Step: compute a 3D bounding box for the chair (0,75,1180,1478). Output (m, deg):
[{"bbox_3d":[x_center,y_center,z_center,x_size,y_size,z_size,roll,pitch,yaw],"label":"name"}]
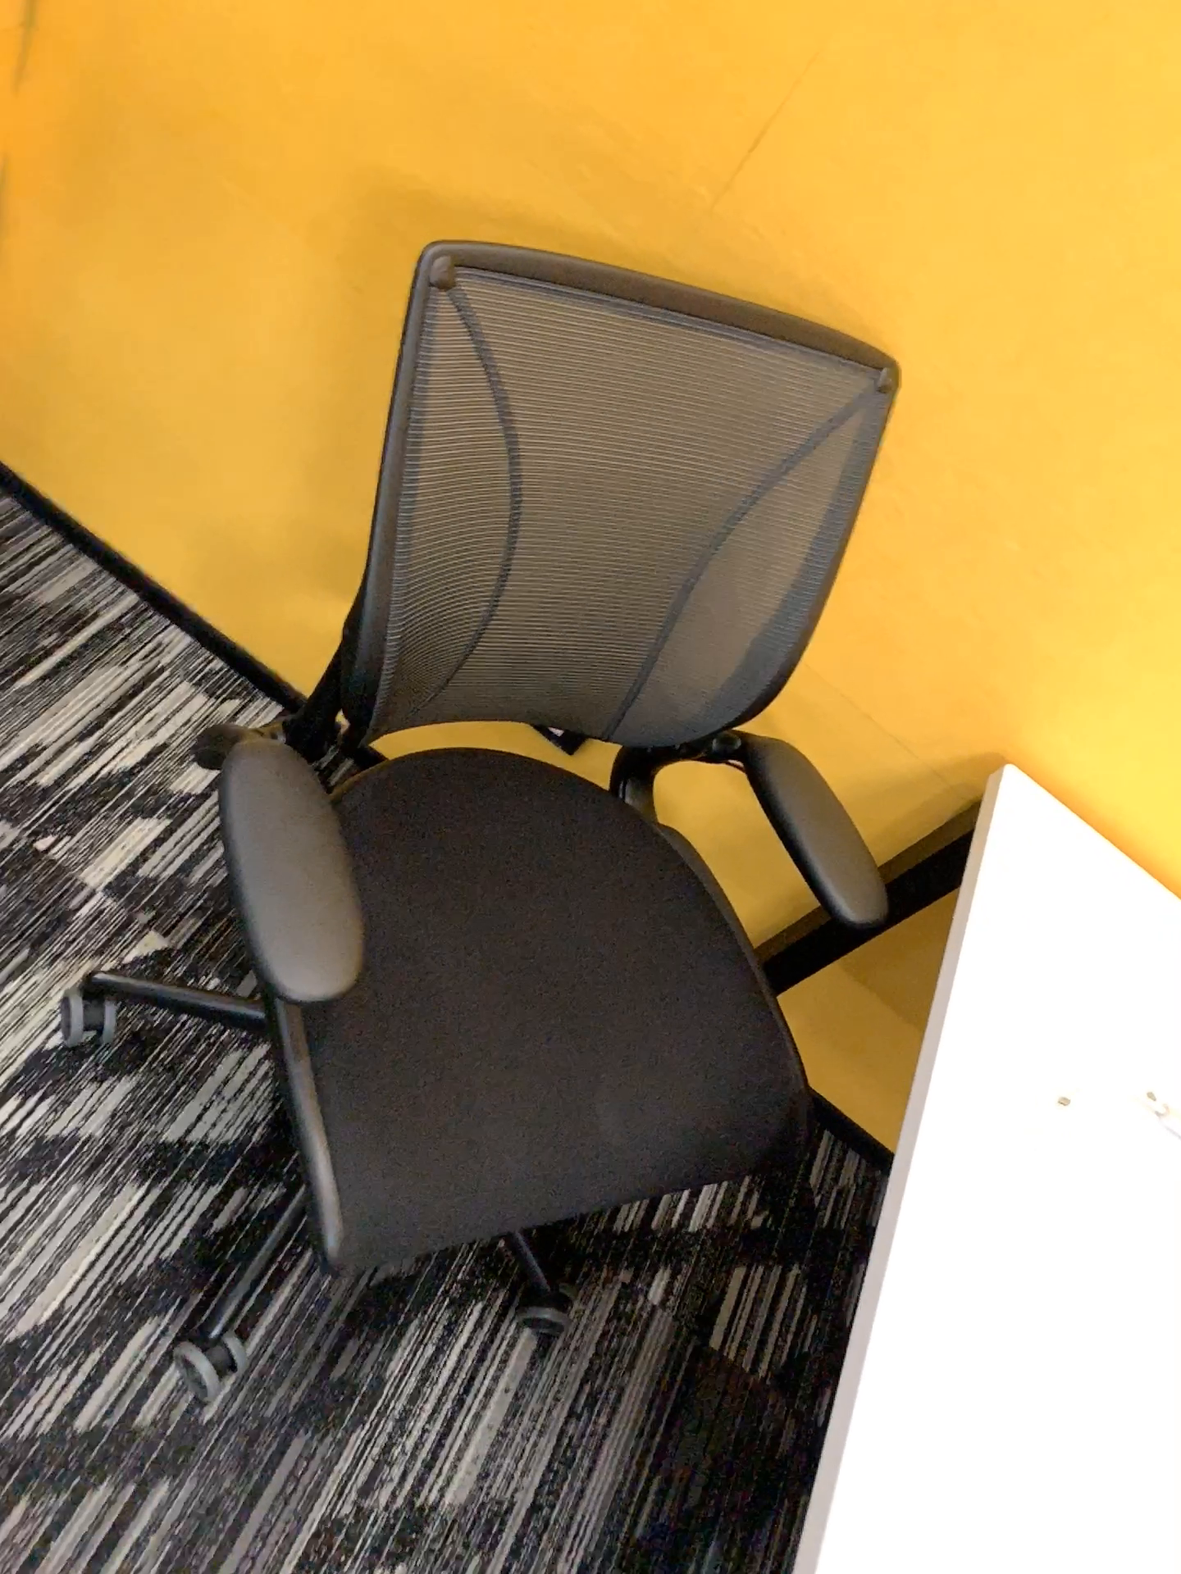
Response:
[{"bbox_3d":[-0.065,0.085,0.930,0.542,0.814,0.572,-5,64,-36],"label":"chair"}]
